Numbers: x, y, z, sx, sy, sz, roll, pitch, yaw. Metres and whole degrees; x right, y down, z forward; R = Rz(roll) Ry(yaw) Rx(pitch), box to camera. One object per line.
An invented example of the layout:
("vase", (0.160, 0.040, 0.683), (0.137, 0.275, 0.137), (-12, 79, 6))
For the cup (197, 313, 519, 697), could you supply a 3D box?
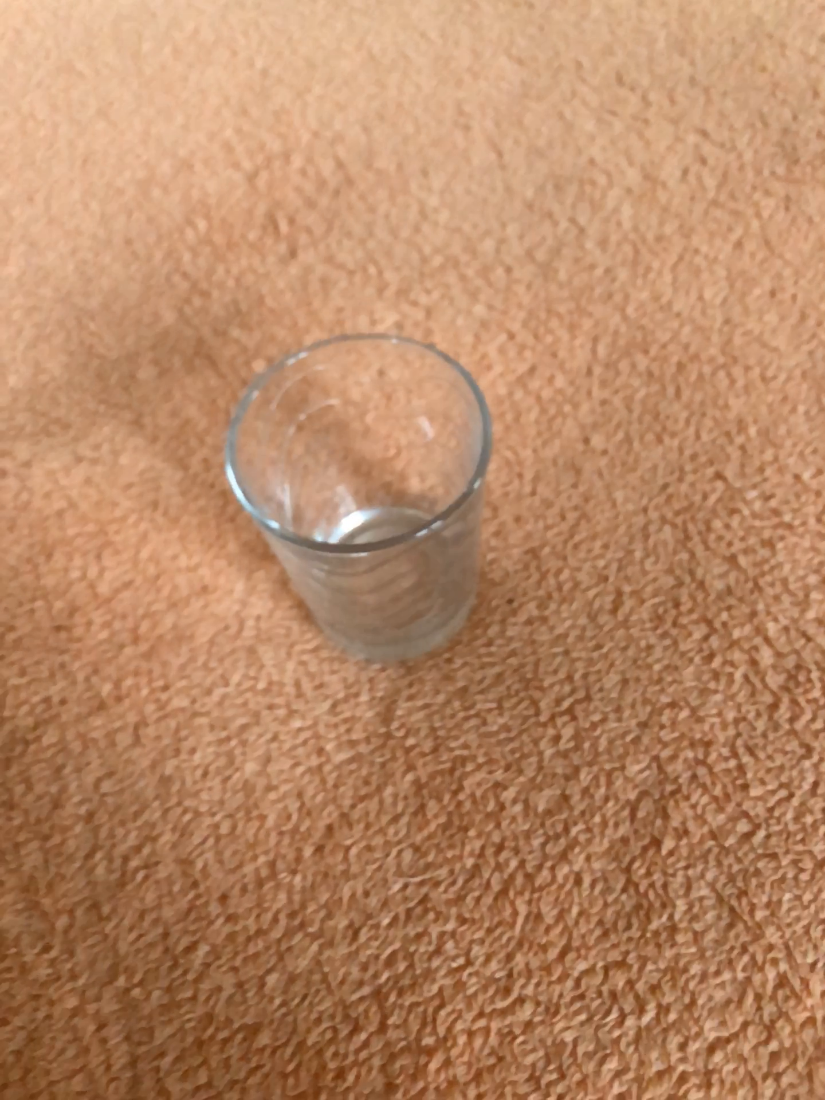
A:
("cup", (-0.008, -0.009, 0.250), (0.060, 0.080, 0.060), (-2, 61, 4))
